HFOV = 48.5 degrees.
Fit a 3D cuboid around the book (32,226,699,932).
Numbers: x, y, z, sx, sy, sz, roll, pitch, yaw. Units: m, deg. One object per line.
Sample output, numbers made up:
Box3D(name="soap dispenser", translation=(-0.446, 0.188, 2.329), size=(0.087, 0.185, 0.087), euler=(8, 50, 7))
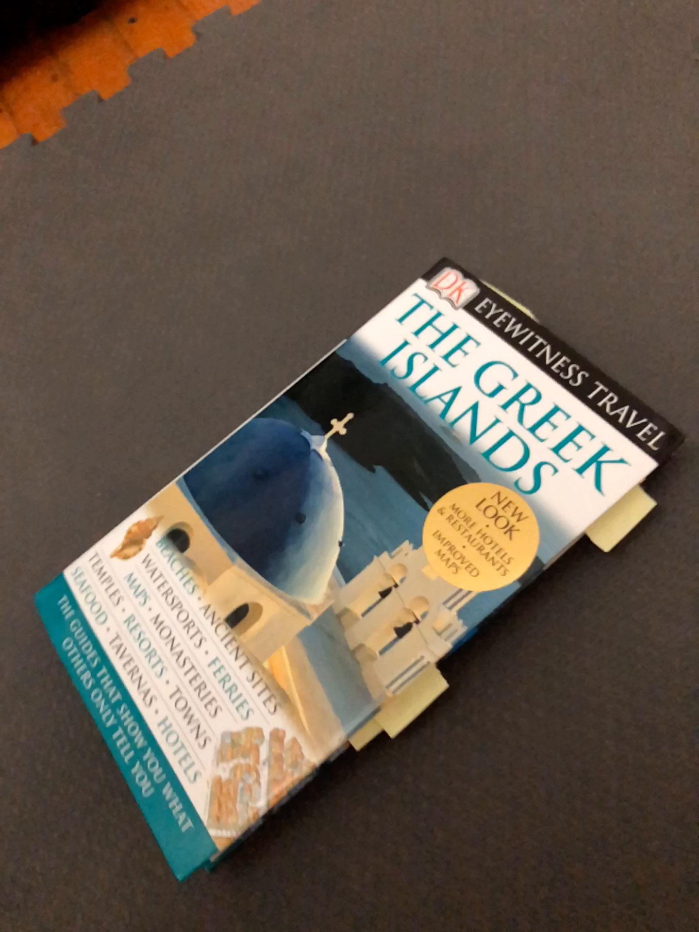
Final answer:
Box3D(name="book", translation=(0.012, 0.027, 0.298), size=(0.240, 0.030, 0.161), euler=(-39, 57, -5))
